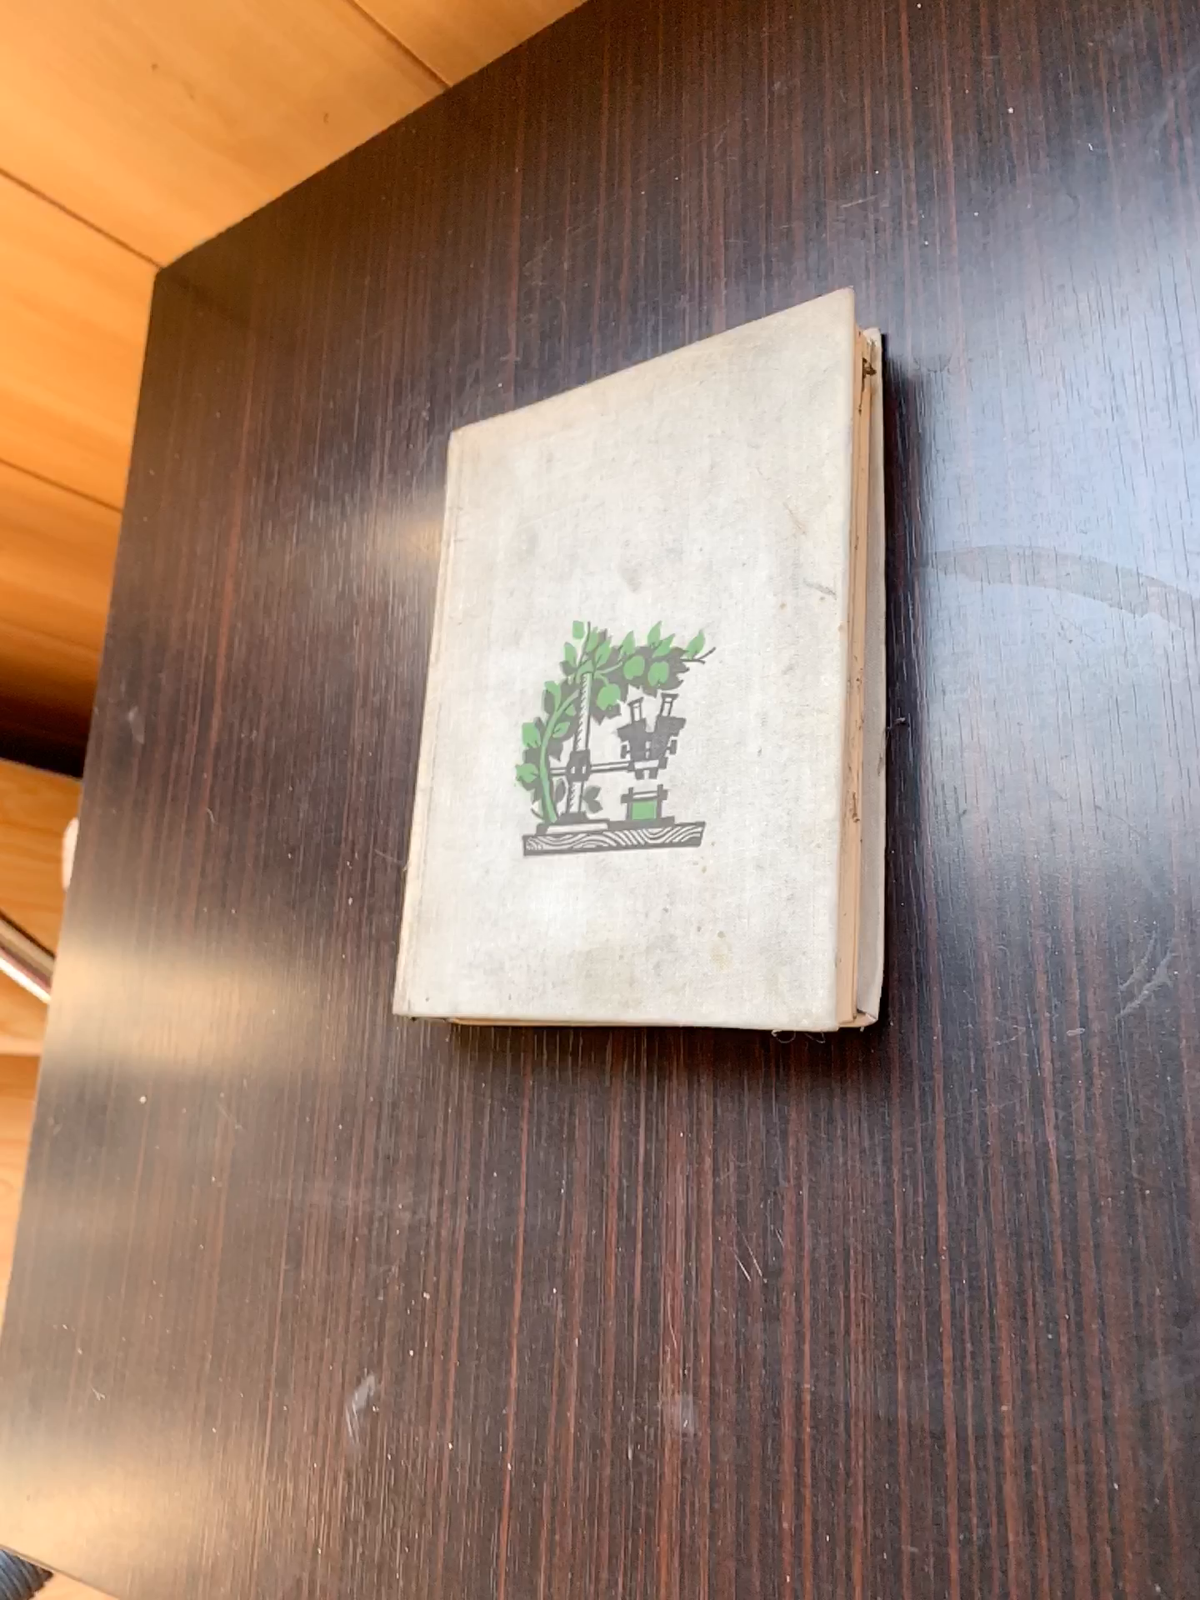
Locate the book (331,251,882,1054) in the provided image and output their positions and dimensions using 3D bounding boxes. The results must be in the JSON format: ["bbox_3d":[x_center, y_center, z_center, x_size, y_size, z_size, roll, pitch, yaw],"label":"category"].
[{"bbox_3d":[-0.001,-0.027,0.301,0.136,0.027,0.169,-7,73,38],"label":"book"}]
